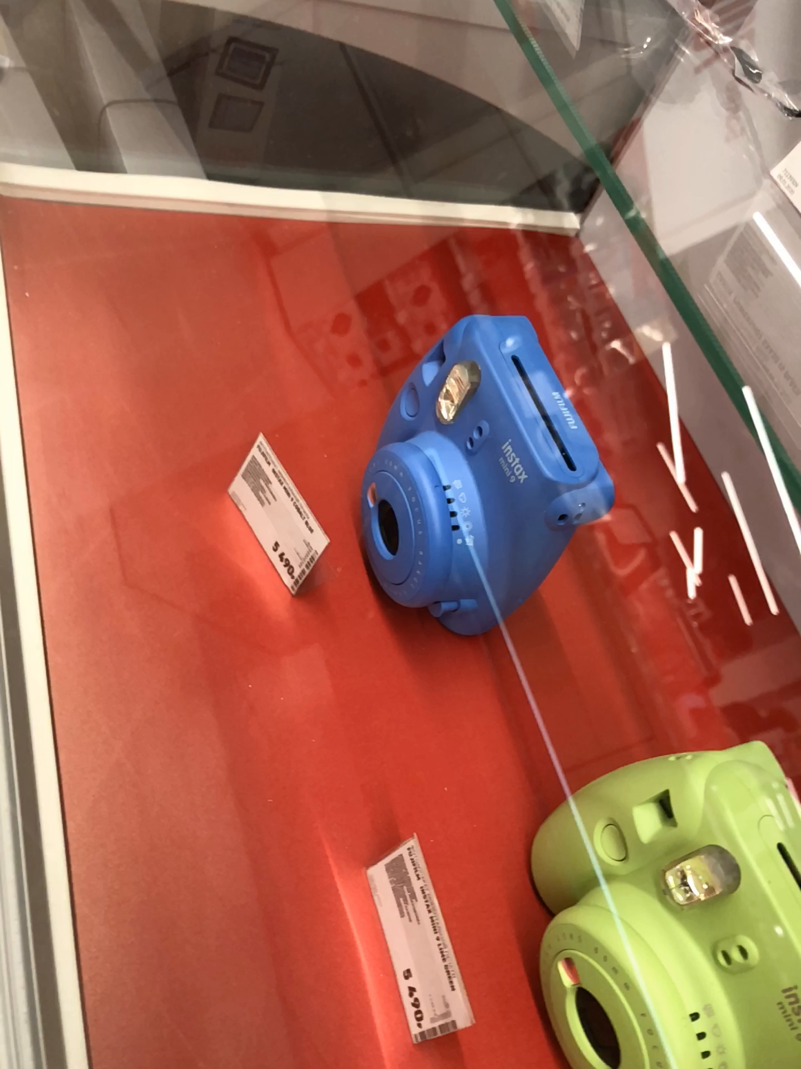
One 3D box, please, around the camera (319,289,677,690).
[{"bbox_3d":[0.031,-0.019,0.381,0.070,0.109,0.123,-11,62,-28],"label":"camera"}]
